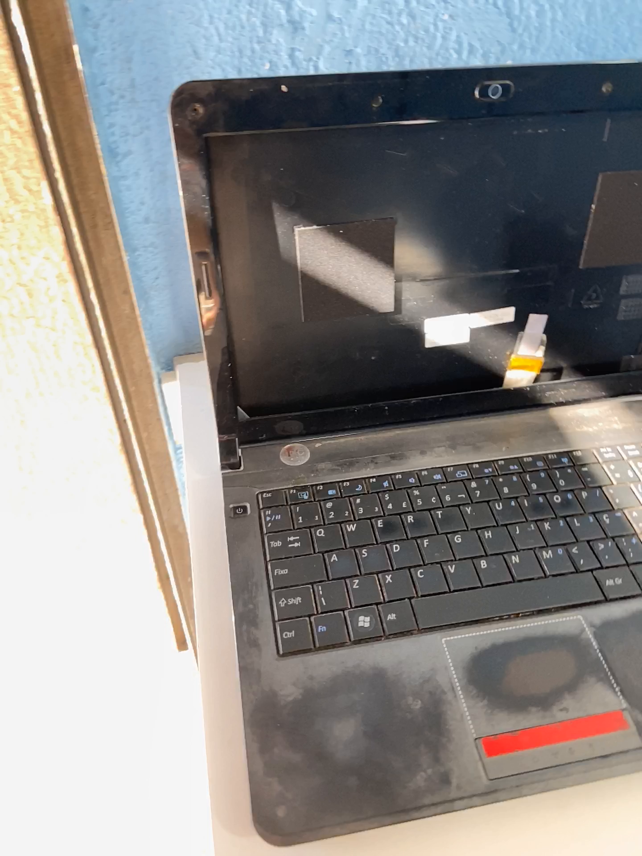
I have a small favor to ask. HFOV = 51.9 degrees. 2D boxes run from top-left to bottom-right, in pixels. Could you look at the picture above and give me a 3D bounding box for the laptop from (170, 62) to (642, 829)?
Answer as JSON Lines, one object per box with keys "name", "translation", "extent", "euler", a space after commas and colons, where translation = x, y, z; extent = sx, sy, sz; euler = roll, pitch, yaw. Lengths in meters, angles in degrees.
{"name": "laptop", "translation": [0.116, -0.017, 0.336], "extent": [0.334, 0.216, 0.277], "euler": [-7, 45, -8]}
